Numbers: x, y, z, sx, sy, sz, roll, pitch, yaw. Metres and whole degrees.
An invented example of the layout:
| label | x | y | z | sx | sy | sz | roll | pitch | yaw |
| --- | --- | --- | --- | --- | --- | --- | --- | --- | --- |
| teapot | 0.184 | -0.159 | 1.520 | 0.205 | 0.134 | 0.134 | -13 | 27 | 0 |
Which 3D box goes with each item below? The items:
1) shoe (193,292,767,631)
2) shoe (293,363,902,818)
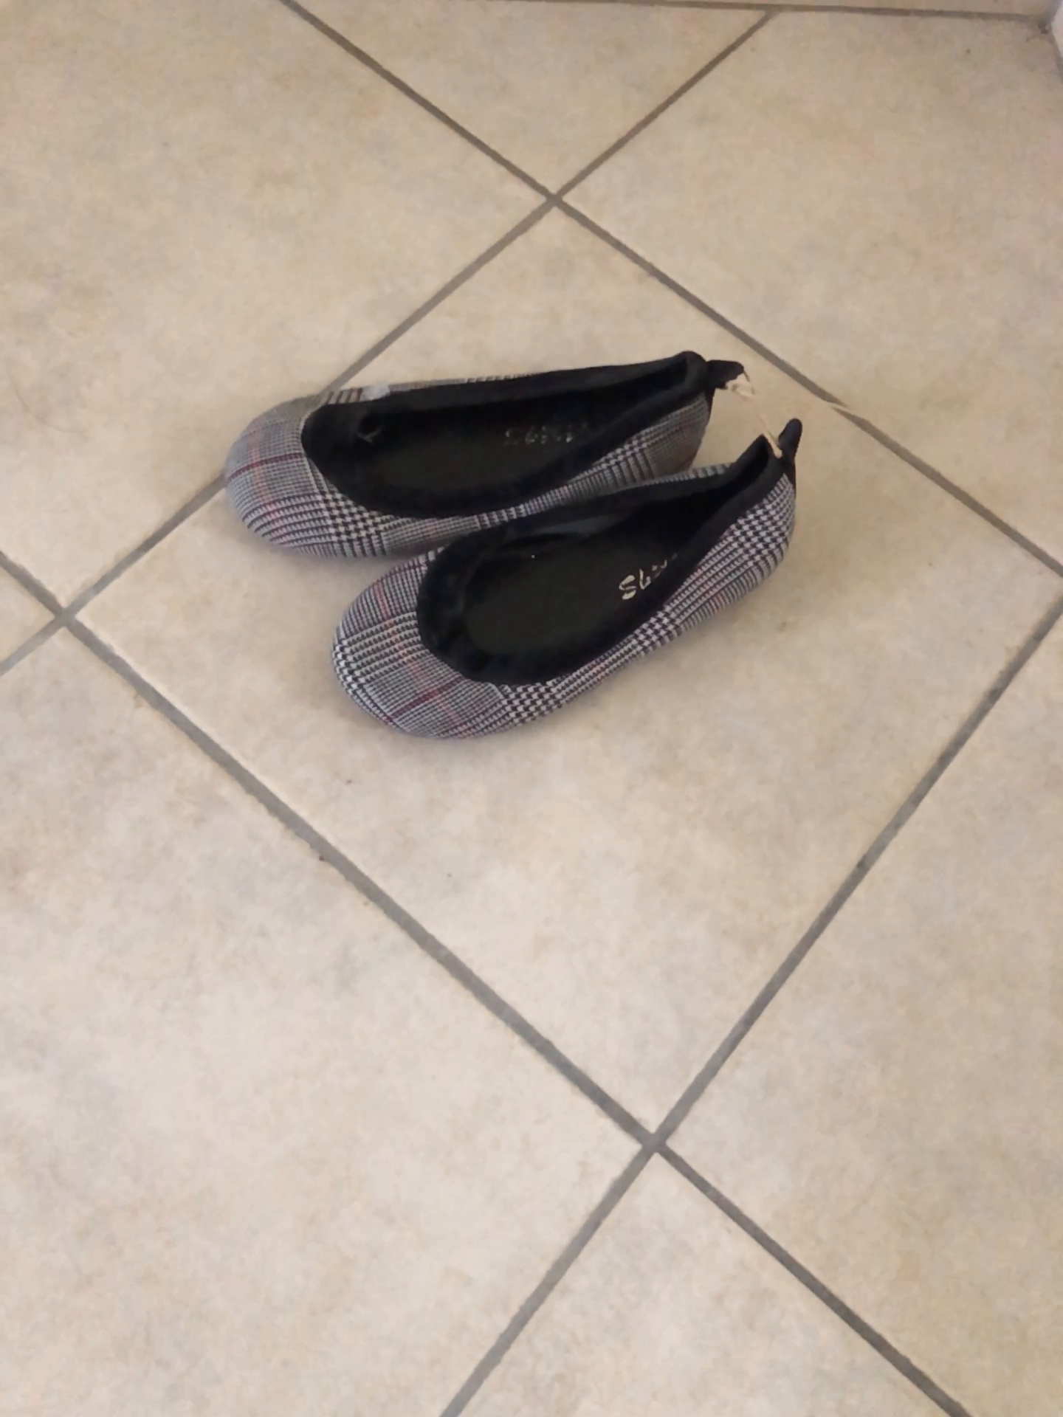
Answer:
| label | x | y | z | sx | sy | sz | roll | pitch | yaw |
| --- | --- | --- | --- | --- | --- | --- | --- | --- | --- |
| shoe | -0.023 | -0.103 | 0.486 | 0.210 | 0.070 | 0.090 | -9 | 70 | -9 |
| shoe | 0.025 | -0.048 | 0.467 | 0.210 | 0.070 | 0.090 | -23 | 73 | -13 |
